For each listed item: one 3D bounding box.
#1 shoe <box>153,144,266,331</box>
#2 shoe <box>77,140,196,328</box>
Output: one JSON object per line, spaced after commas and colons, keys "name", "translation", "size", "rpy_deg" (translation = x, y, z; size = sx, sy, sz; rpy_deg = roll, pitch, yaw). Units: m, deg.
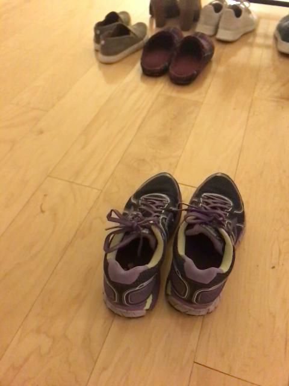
{"name": "shoe", "translation": [0.116, 0.051, 0.521], "size": [0.120, 0.079, 0.292], "rpy_deg": [14, 49, 12]}
{"name": "shoe", "translation": [0.004, 0.048, 0.528], "size": [0.110, 0.099, 0.292], "rpy_deg": [11, 49, 10]}
